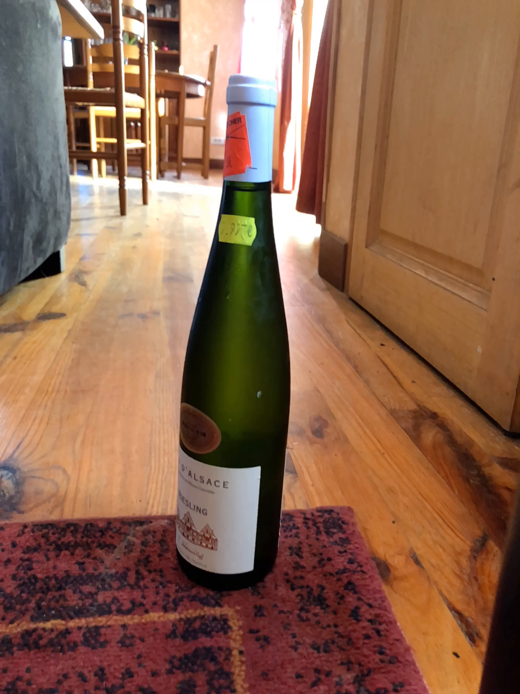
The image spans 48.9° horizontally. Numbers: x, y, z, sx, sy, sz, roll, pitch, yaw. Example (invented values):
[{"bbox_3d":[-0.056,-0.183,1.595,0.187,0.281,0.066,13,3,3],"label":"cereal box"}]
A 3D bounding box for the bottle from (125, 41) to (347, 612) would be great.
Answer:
[{"bbox_3d":[-0.016,-0.005,0.340,0.080,0.299,0.080,2,19,-1],"label":"bottle"}]
